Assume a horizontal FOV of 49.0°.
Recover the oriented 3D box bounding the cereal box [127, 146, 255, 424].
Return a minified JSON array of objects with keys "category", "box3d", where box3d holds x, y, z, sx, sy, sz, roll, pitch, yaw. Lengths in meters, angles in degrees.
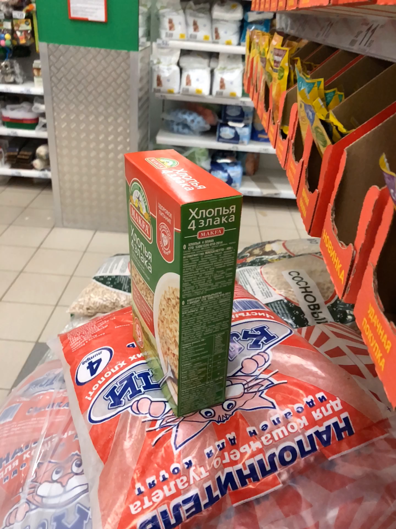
[{"category":"cereal box","box3d":[-0.016,0.014,0.404,0.050,0.209,0.141,-11,31,-23]}]
